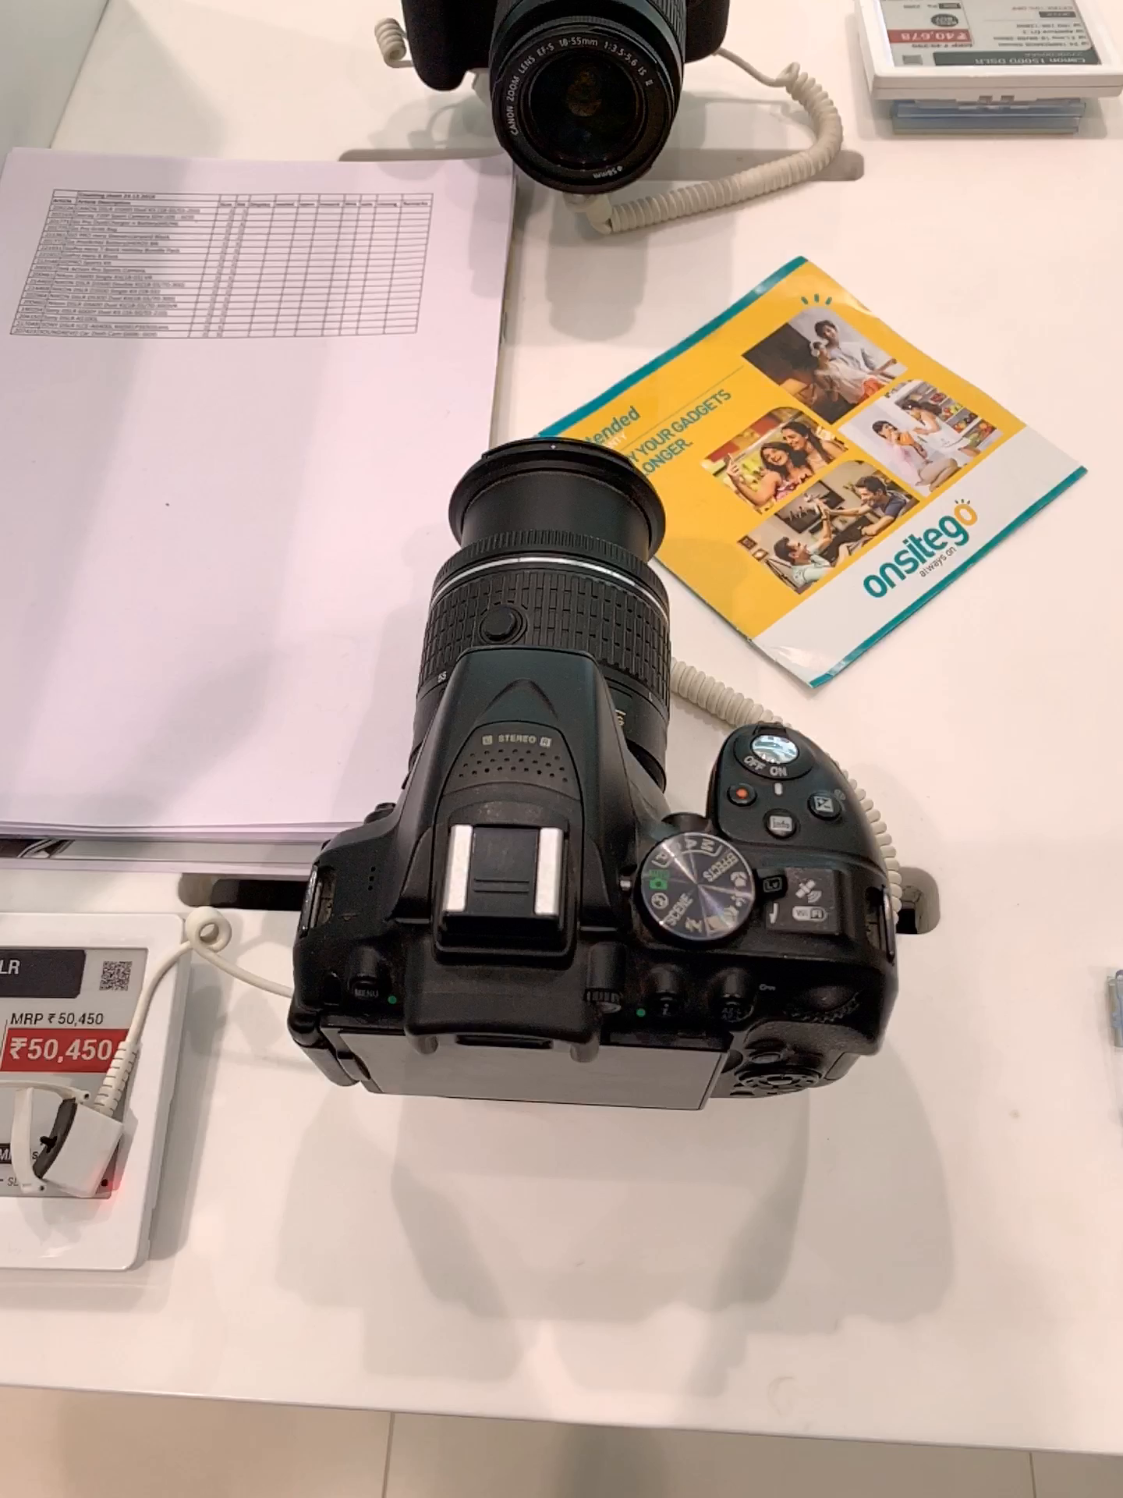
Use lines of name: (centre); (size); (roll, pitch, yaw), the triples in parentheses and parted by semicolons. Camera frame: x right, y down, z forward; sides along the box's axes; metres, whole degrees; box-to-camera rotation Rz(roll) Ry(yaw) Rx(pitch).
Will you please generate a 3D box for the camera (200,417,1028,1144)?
camera: (0.012, 0.011, 0.233); (0.118, 0.100, 0.107); (3, 62, 4)
